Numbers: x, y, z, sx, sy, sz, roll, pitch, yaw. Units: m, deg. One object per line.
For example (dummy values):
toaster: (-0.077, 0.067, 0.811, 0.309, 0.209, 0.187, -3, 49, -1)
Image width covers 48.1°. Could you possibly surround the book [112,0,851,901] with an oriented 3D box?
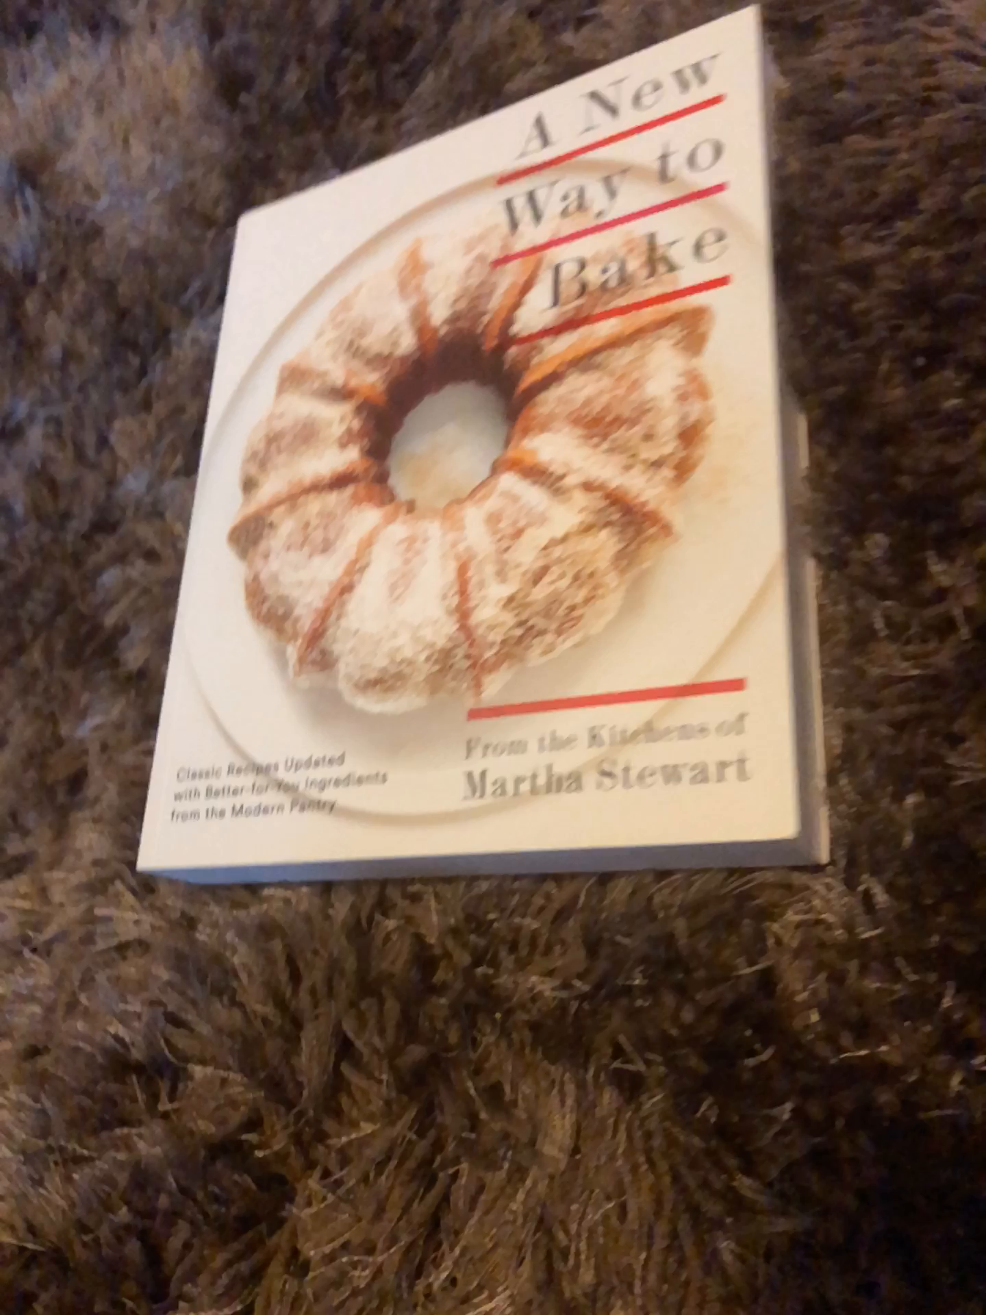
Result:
book: (-0.008, -0.051, 0.320, 0.193, 0.040, 0.229, -9, 67, 27)
